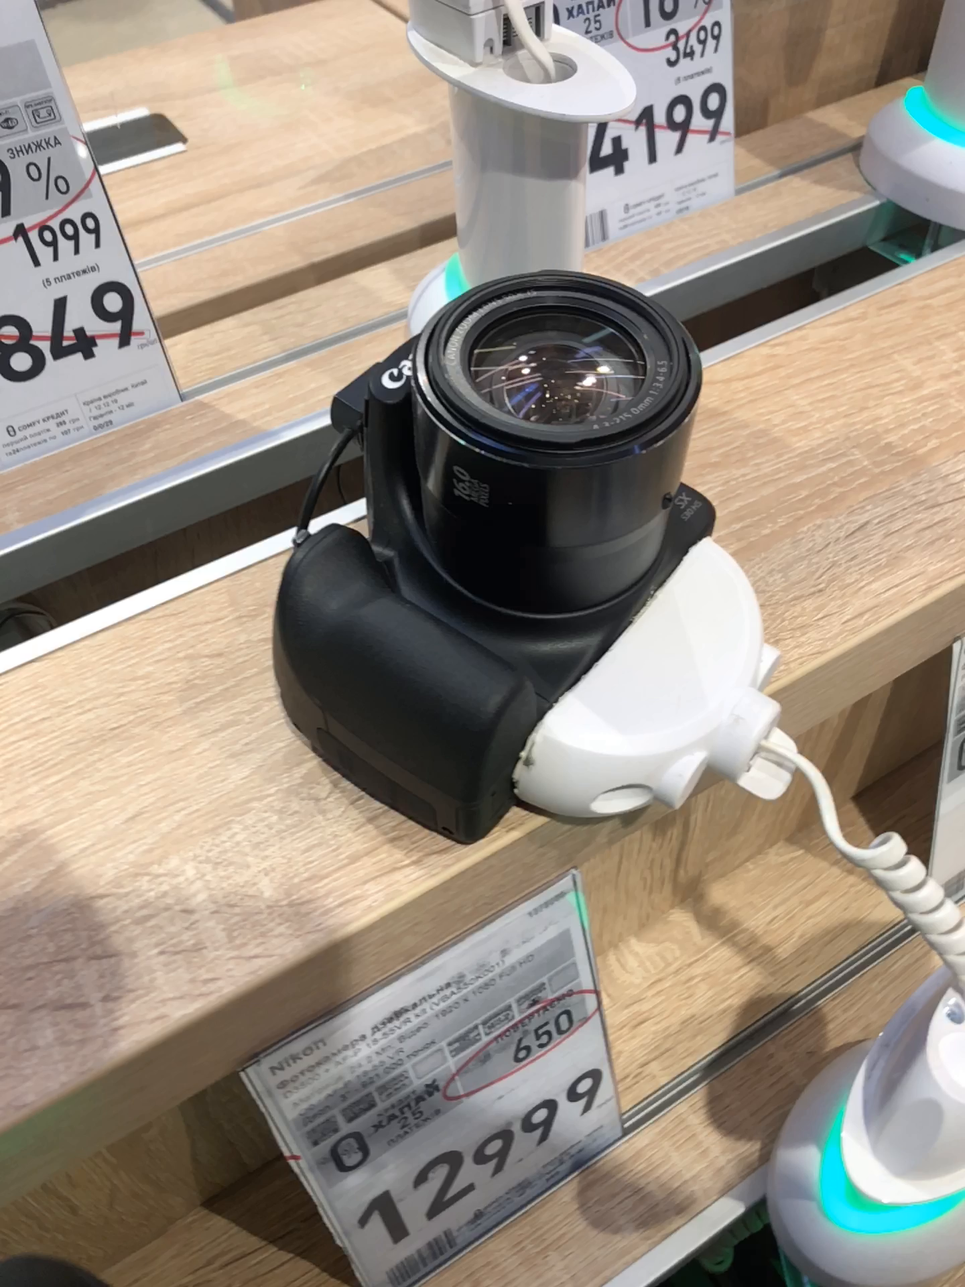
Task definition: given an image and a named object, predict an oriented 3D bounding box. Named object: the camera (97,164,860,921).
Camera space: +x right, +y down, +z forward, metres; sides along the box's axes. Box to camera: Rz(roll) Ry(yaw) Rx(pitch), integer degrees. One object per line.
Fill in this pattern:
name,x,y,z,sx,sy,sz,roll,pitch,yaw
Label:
camera,0.003,-0.030,0.267,0.107,0.090,0.134,32,58,19
